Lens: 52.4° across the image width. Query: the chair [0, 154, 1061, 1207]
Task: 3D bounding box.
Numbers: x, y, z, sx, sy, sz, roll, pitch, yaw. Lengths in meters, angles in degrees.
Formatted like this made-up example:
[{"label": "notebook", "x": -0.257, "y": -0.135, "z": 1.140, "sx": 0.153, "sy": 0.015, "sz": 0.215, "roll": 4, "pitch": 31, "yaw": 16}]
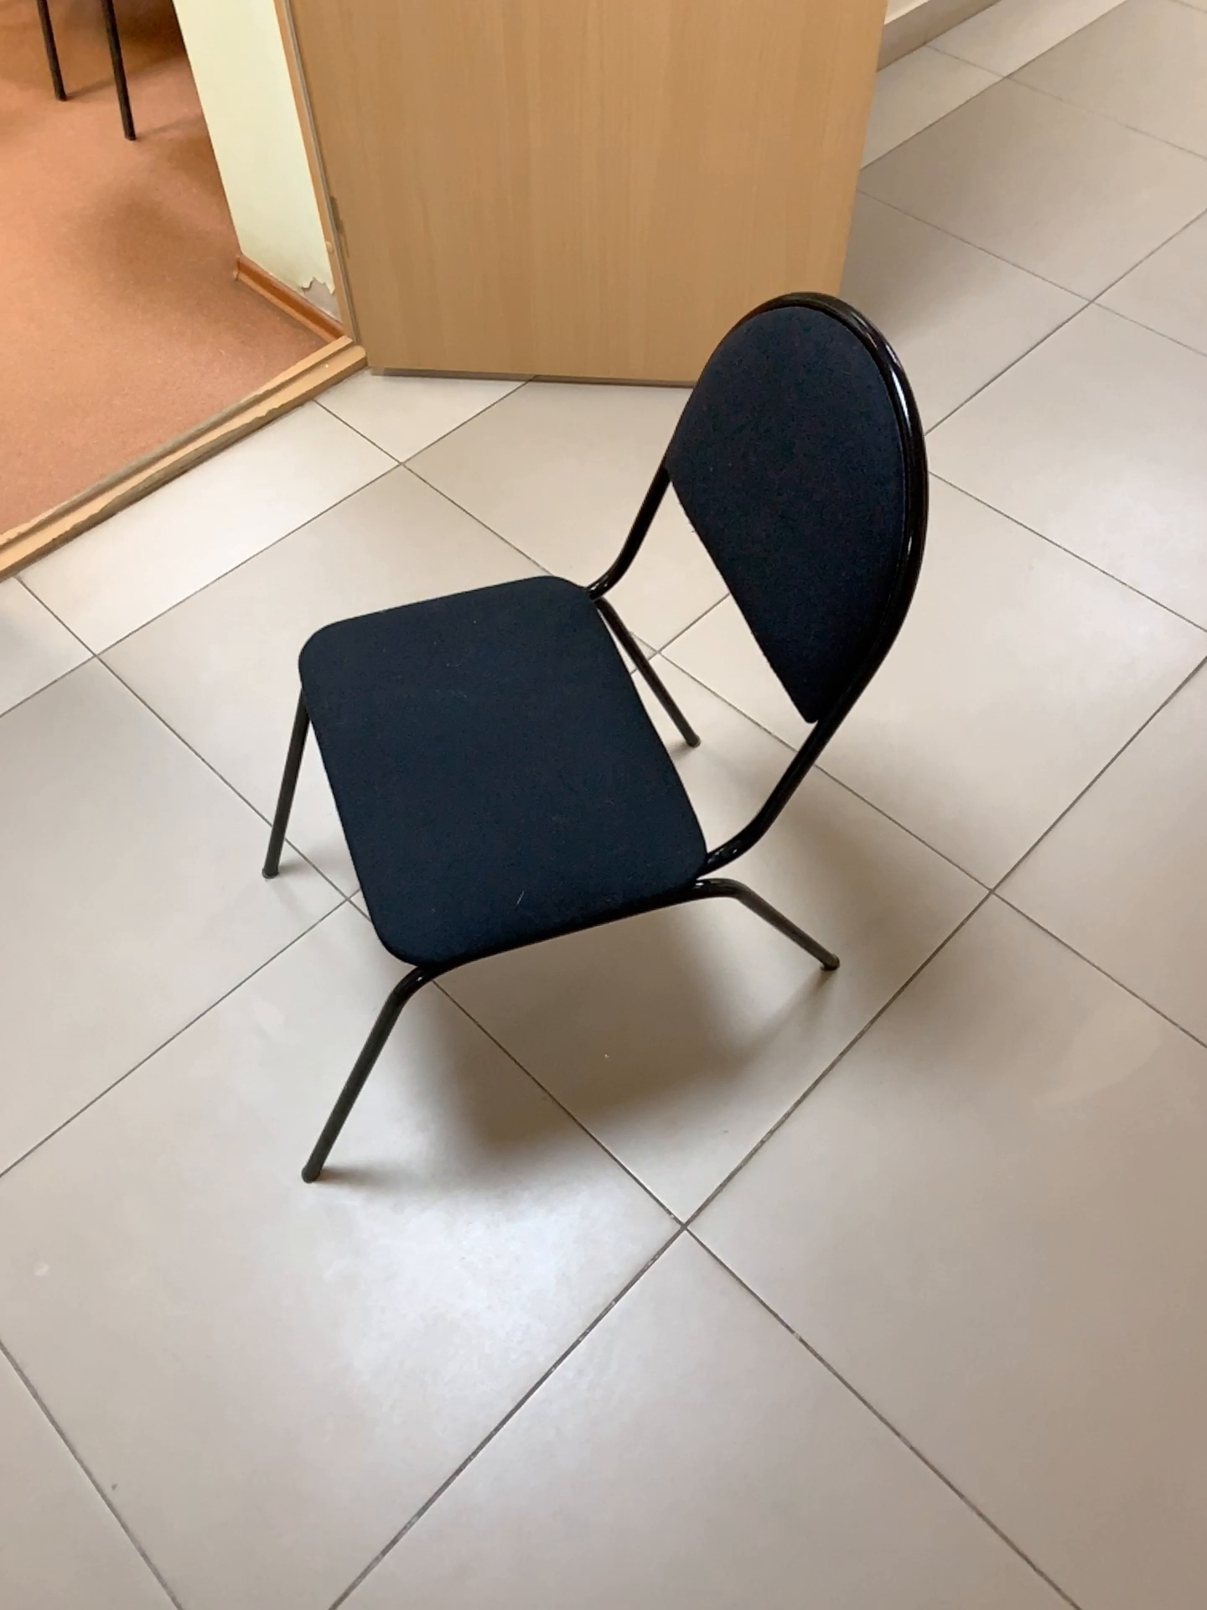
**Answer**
[{"label": "chair", "x": -0.106, "y": -0.065, "z": 1.184, "sx": 0.690, "sy": 0.775, "sz": 0.483, "roll": -15, "pitch": 57, "yaw": -10}]
